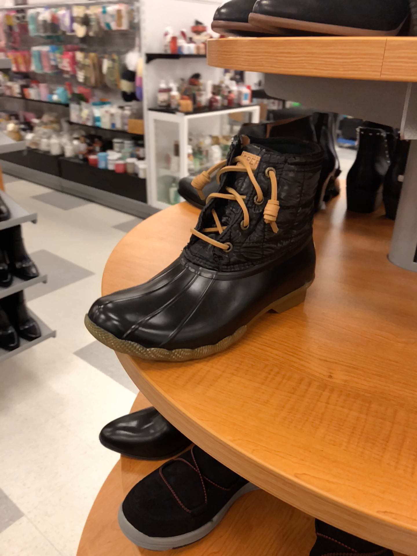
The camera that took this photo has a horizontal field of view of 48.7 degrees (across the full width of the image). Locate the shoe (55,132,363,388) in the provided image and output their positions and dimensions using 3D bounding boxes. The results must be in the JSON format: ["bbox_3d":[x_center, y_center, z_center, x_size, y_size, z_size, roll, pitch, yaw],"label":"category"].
[{"bbox_3d":[0.005,-0.035,0.413,0.231,0.157,0.113,-15,28,-30],"label":"shoe"}]
